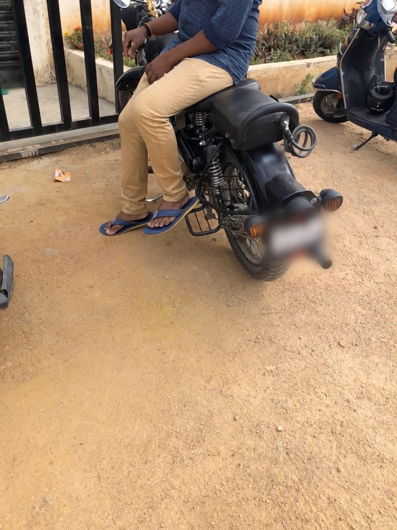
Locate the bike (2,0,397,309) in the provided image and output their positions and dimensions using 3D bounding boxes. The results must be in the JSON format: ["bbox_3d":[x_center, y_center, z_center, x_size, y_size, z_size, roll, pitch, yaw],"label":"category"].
[{"bbox_3d":[-0.204,-0.937,2.081,0.725,1.169,1.810,-16,45,-26],"label":"bike"}]
